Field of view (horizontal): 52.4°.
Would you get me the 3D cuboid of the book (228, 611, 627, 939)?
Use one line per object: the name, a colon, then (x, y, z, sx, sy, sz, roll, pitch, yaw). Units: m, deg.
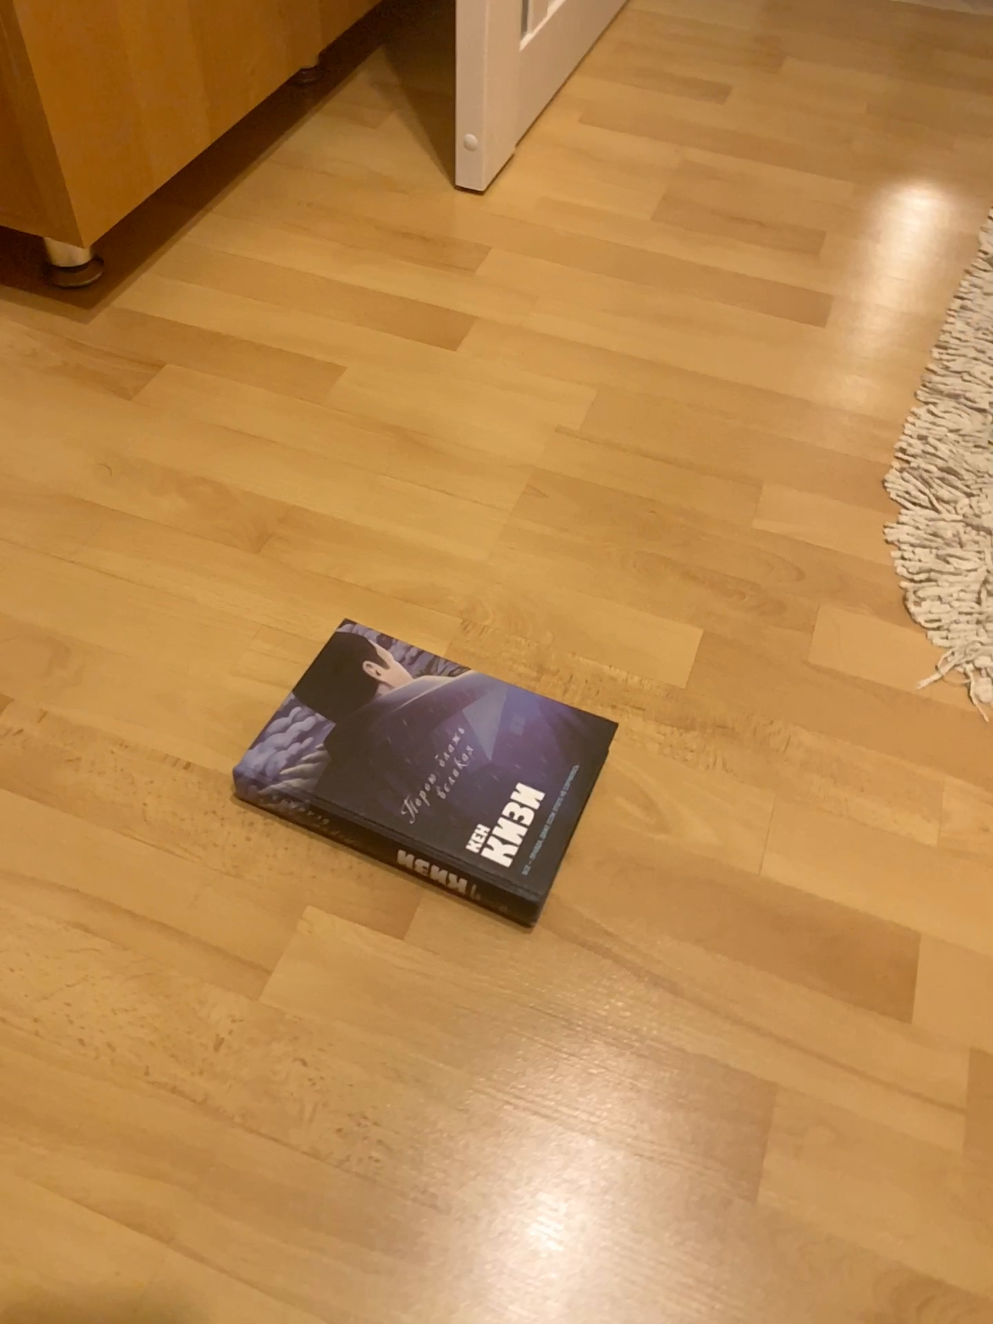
book: (-0.044, 0.070, 0.698, 0.224, 0.050, 0.151, 21, 55, 14)
